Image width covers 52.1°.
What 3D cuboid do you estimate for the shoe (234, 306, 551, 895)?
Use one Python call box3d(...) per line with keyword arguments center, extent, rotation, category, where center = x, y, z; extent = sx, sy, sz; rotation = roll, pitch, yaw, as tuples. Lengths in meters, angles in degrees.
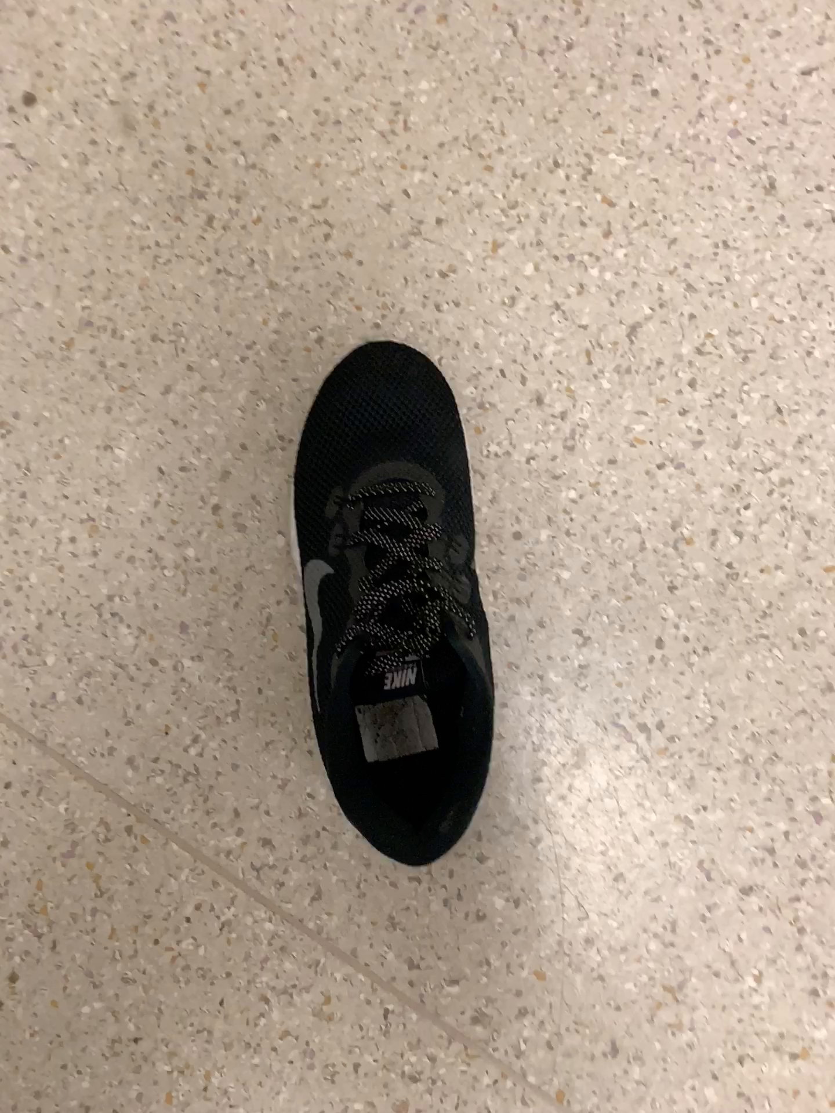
box3d(center=(-0.011, 0.021, 0.431), extent=(0.113, 0.094, 0.252), rotation=(-8, 83, 4), category="shoe")
